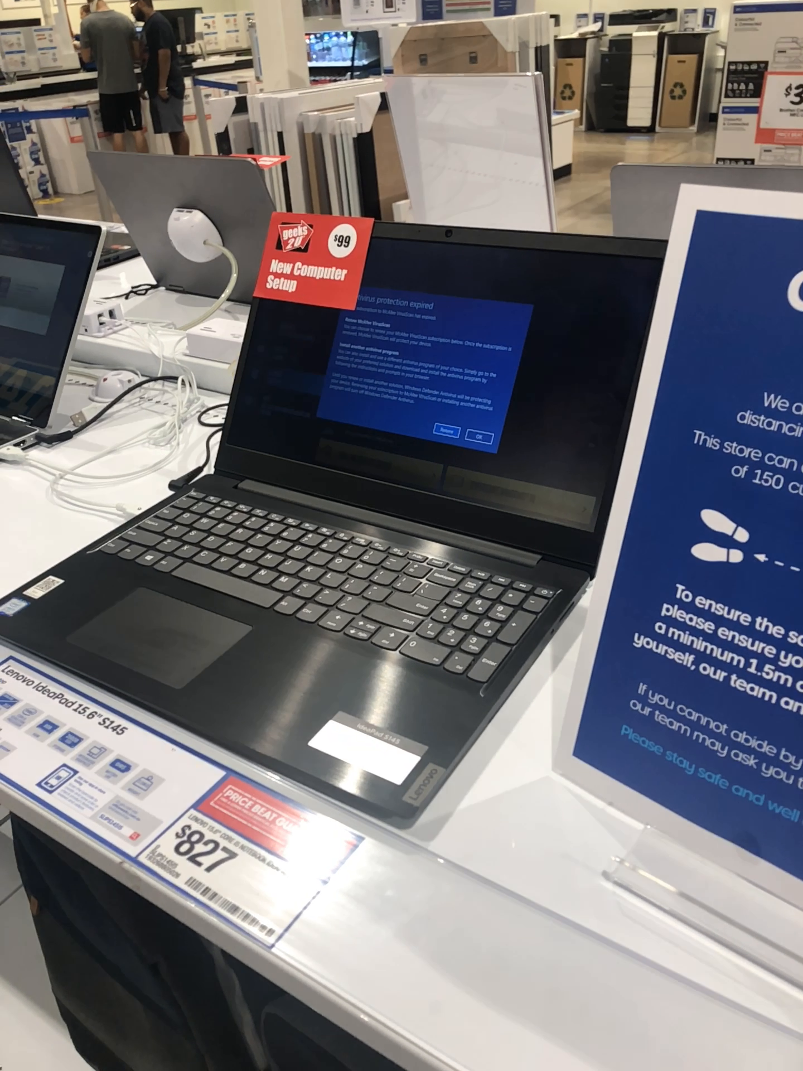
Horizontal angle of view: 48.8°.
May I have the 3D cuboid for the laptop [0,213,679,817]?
[{"bbox_3d":[-0.052,-0.072,0.609,0.353,0.192,0.370,15,37,30],"label":"laptop"}]
